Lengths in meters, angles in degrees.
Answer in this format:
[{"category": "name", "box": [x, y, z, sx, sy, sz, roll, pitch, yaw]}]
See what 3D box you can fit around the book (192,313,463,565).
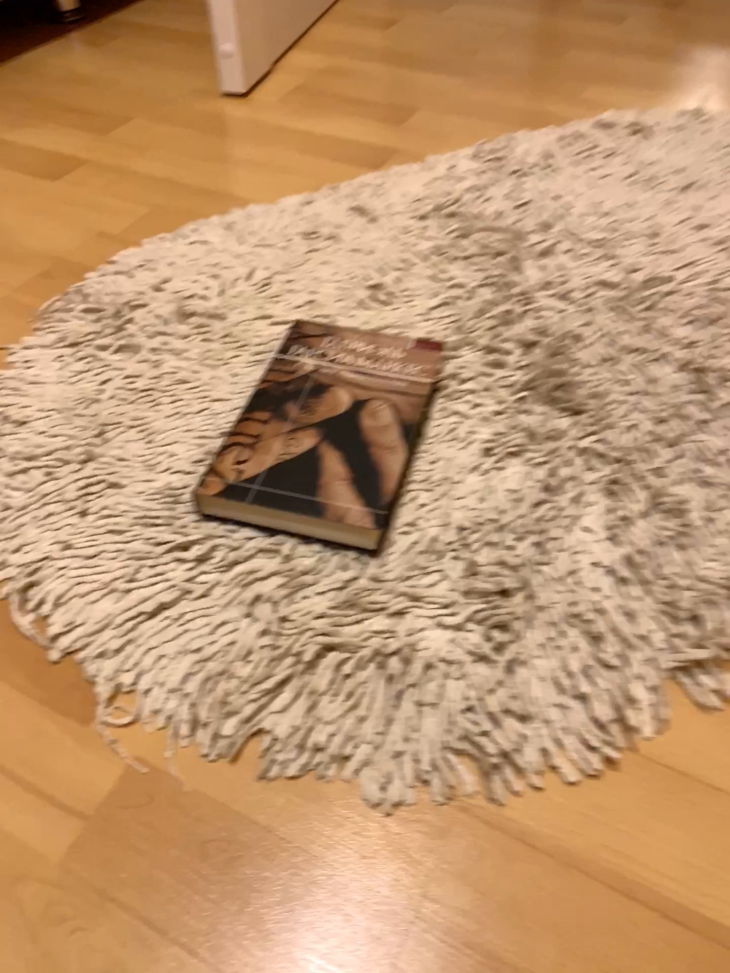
[{"category": "book", "box": [-0.017, -0.048, 0.561, 0.140, 0.030, 0.212, 11, 49, 12]}]
